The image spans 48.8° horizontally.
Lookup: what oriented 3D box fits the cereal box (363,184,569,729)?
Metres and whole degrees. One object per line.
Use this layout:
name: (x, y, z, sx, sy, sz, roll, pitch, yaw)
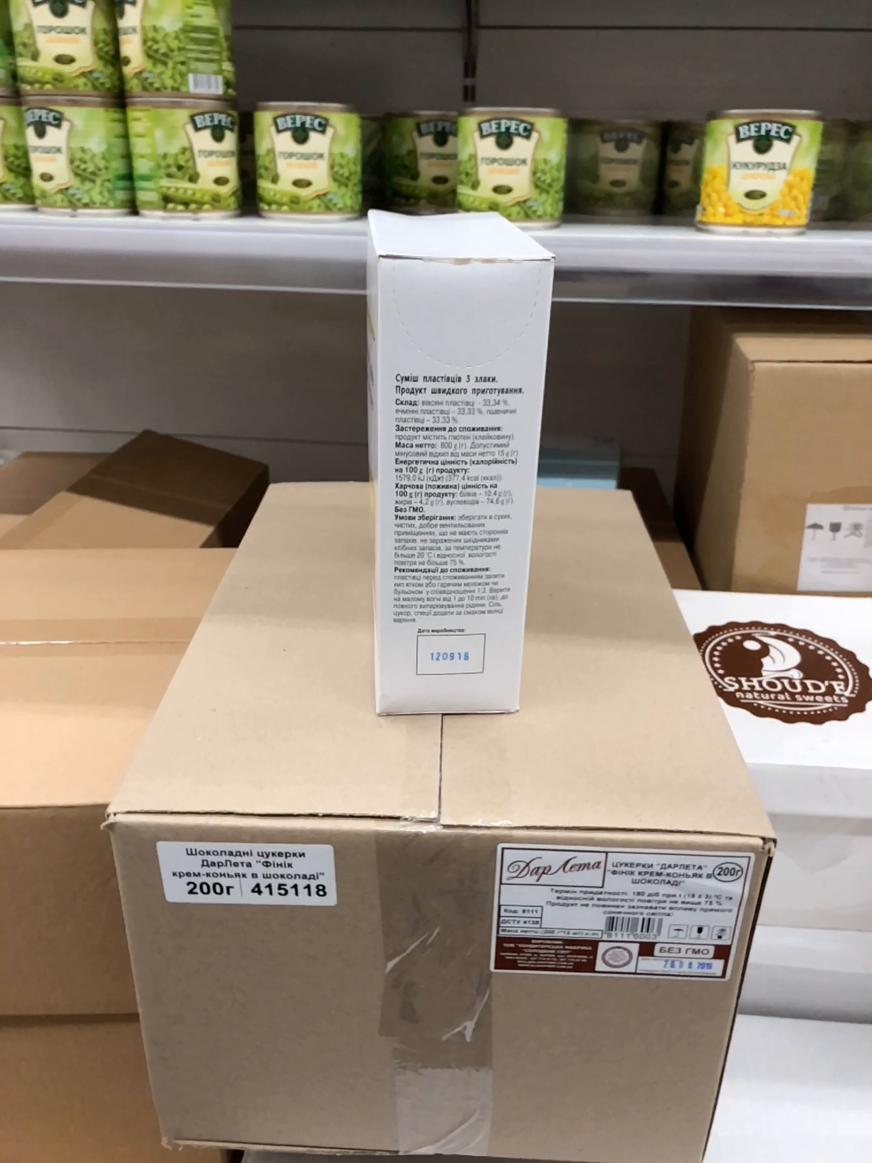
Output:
cereal box: (0.004, -0.068, 0.456, 0.070, 0.209, 0.171, -1, 27, -4)
